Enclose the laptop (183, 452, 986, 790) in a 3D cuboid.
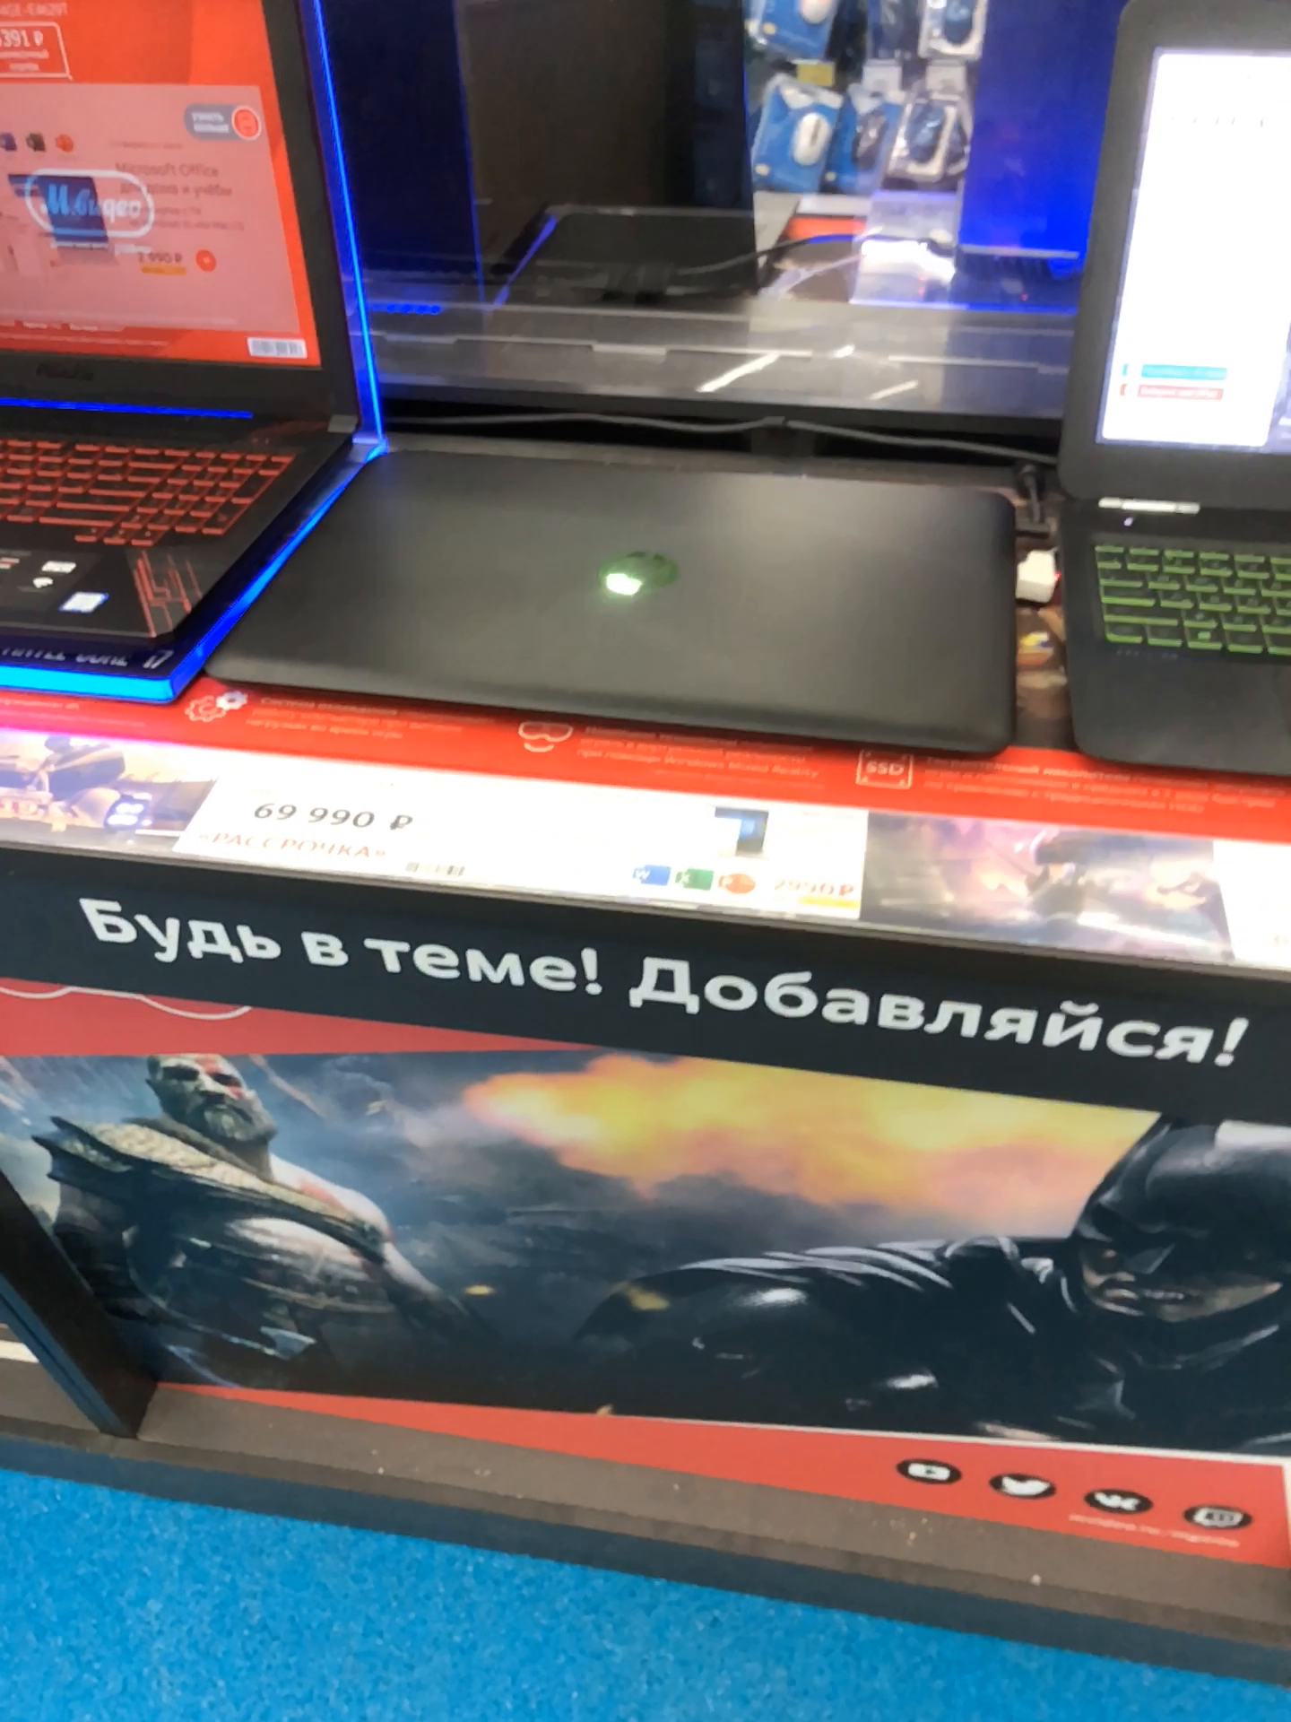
[{"bbox_3d":[-0.014,-0.135,0.725,0.365,0.012,0.234,8,42,9],"label":"laptop"}]
